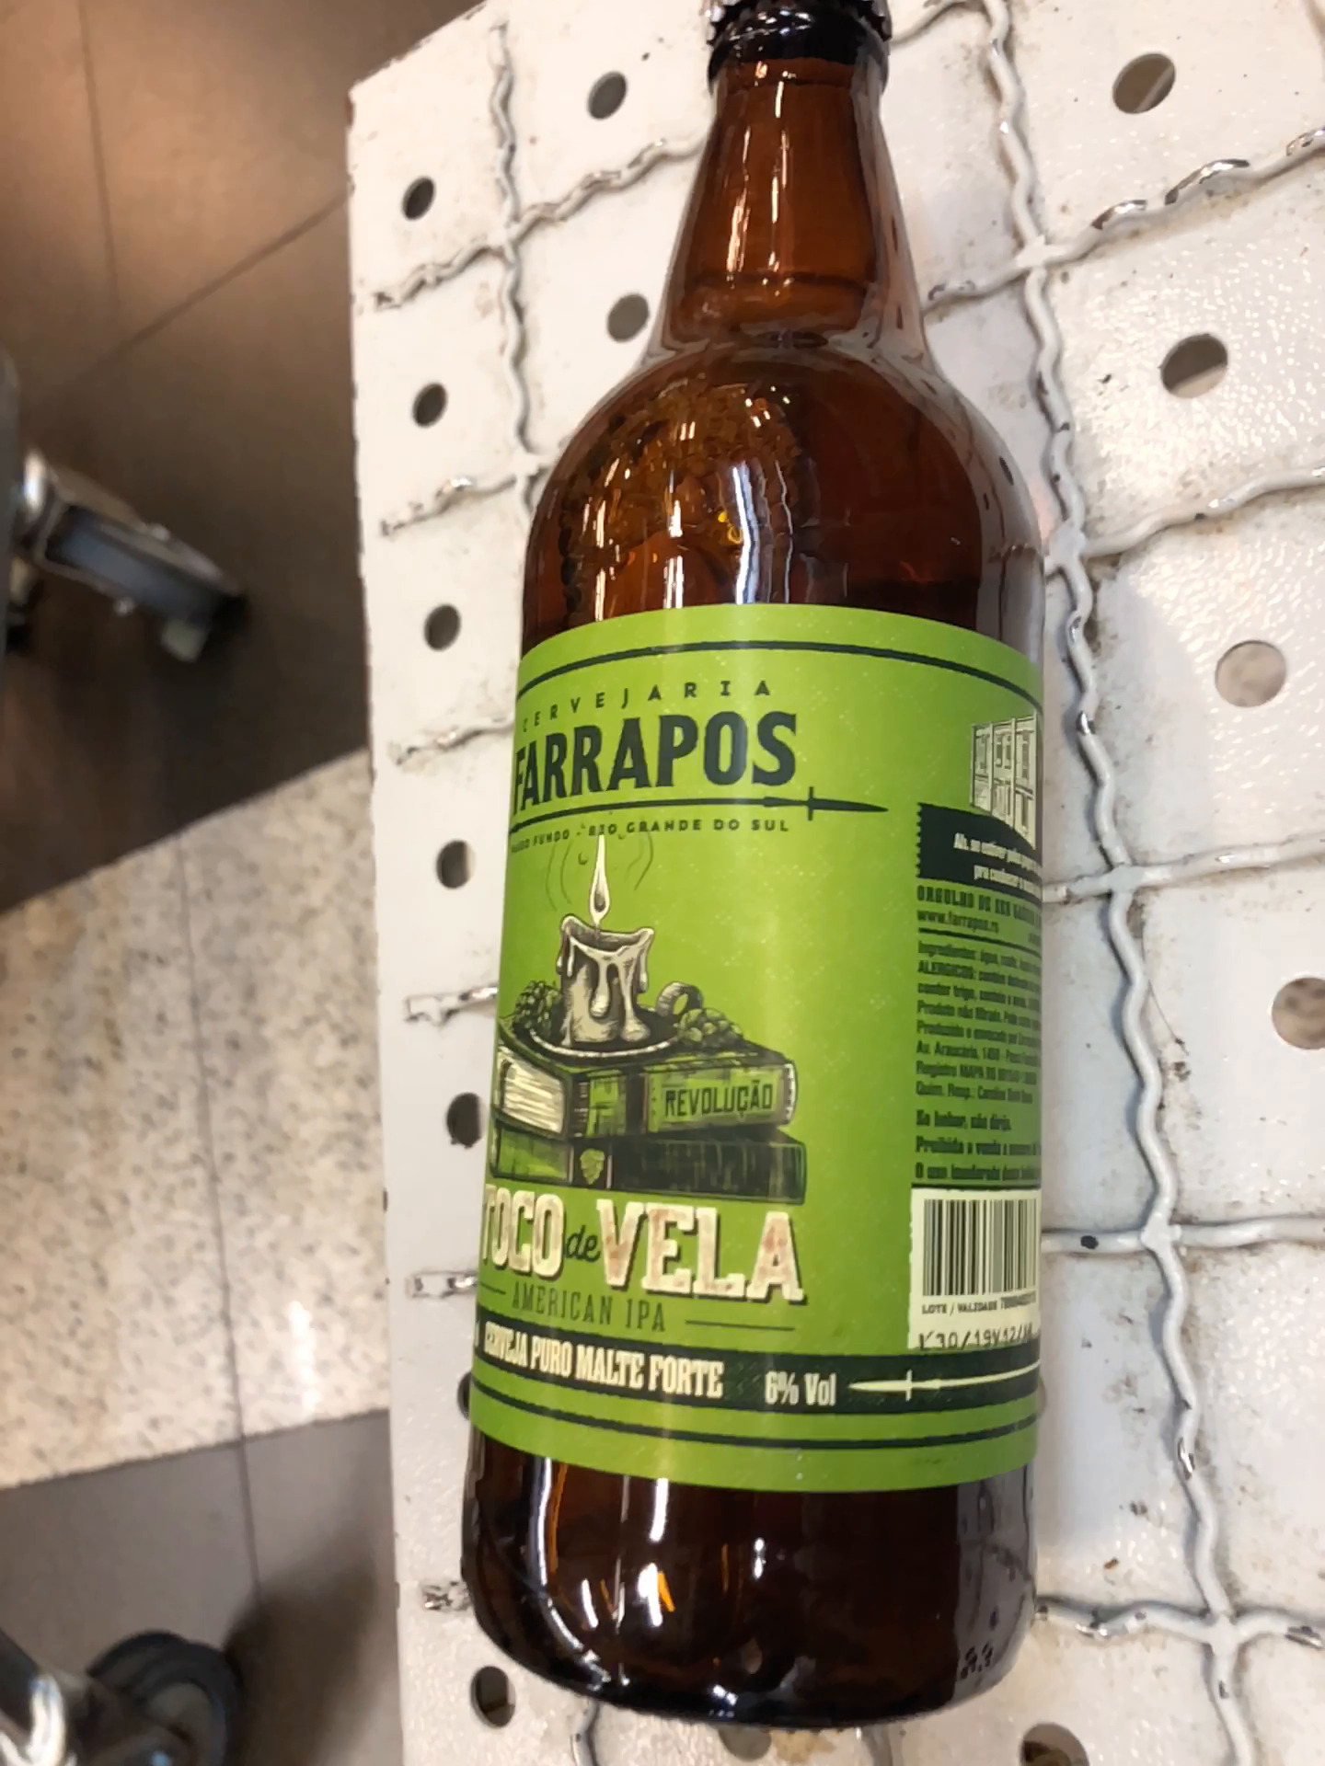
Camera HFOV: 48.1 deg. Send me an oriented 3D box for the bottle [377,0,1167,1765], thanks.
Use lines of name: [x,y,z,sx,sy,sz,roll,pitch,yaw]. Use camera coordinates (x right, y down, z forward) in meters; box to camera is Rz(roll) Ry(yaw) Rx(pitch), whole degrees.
bottle: [0.022,-0.034,0.210,0.080,0.070,0.260,-2,81,29]
